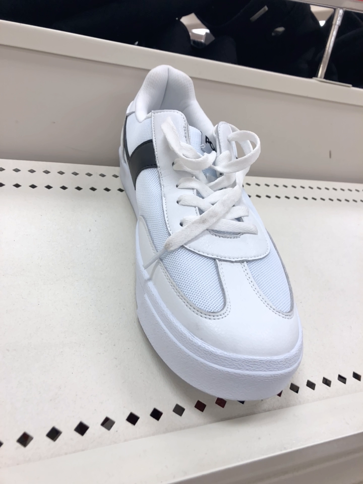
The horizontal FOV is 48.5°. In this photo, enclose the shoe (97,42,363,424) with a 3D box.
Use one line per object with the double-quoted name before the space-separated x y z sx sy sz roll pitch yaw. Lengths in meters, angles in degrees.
"shoe" 0.010 -0.064 0.327 0.113 0.129 0.373 3 29 -18
